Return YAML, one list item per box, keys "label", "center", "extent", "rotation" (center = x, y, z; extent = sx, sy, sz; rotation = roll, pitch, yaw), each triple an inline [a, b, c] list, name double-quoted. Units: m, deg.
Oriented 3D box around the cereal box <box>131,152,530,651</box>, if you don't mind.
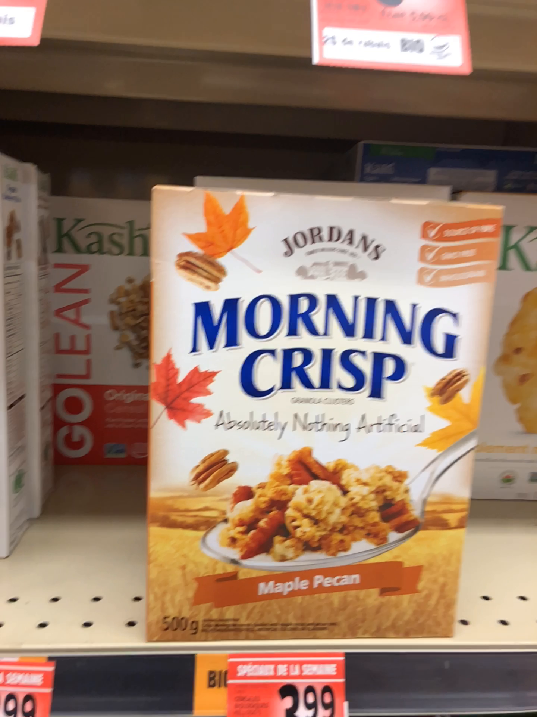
- label: "cereal box"
  center: [0.025, 0.030, 0.333]
  extent: [0.190, 0.259, 0.050]
  rotation: [2, 11, -6]
